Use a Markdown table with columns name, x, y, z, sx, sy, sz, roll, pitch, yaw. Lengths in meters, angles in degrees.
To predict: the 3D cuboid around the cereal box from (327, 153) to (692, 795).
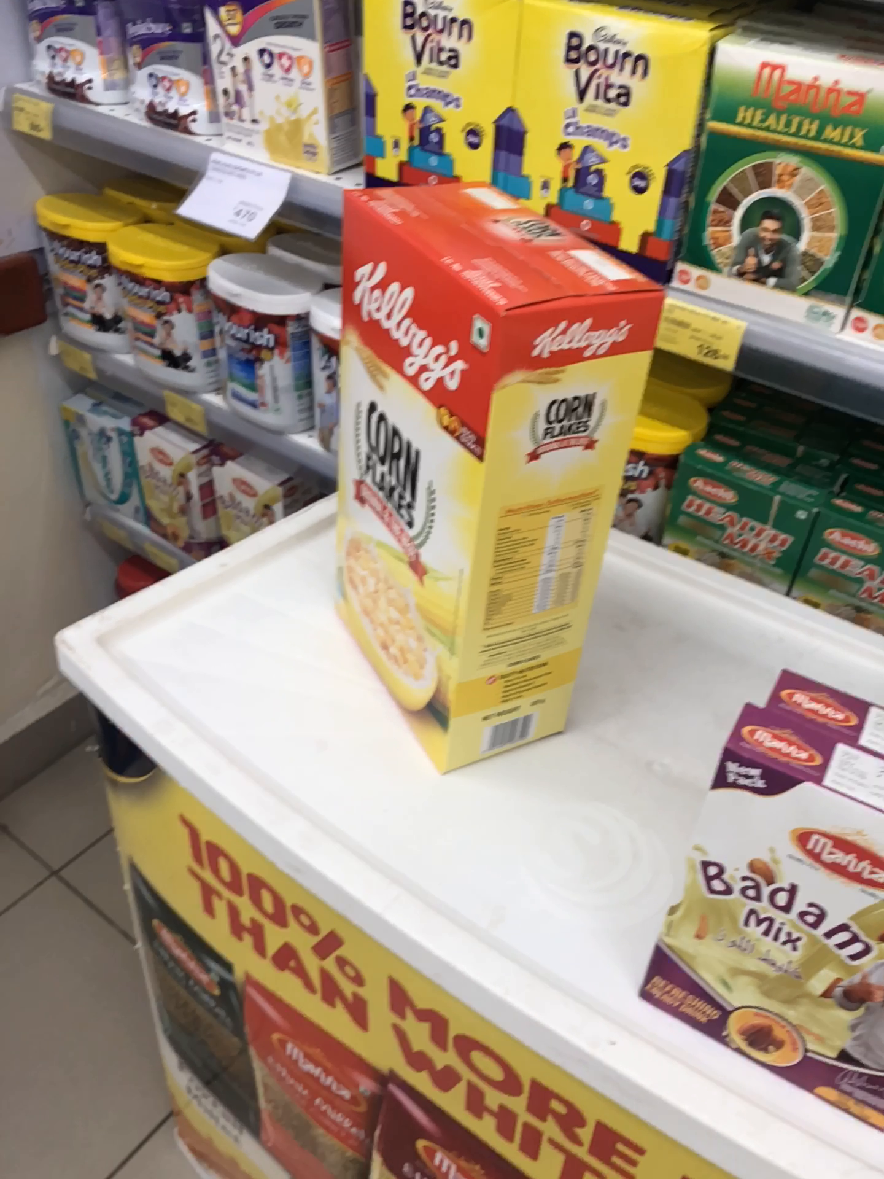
| name | x | y | z | sx | sy | sz | roll | pitch | yaw |
| --- | --- | --- | --- | --- | --- | --- | --- | --- | --- |
| cereal box | 0.018 | -0.070 | 0.613 | 0.110 | 0.329 | 0.201 | -14 | 40 | -21 |
